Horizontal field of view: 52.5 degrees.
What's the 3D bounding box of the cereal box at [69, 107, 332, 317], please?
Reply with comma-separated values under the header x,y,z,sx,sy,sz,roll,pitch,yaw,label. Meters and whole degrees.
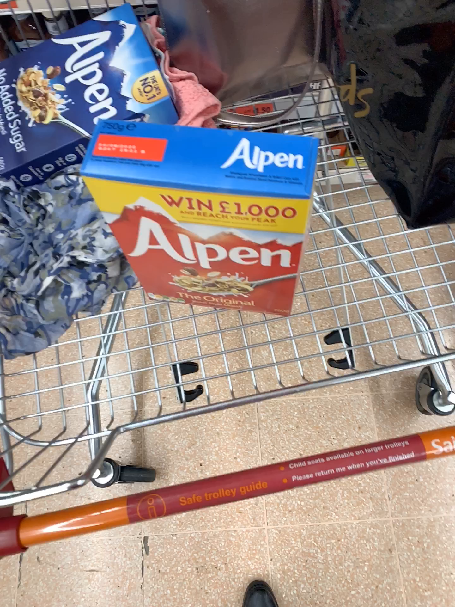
x,y,z,sx,sy,sz,roll,pitch,yaw,label
-0.014,-0.066,0.444,0.180,0.249,0.060,6,70,5,cereal box
